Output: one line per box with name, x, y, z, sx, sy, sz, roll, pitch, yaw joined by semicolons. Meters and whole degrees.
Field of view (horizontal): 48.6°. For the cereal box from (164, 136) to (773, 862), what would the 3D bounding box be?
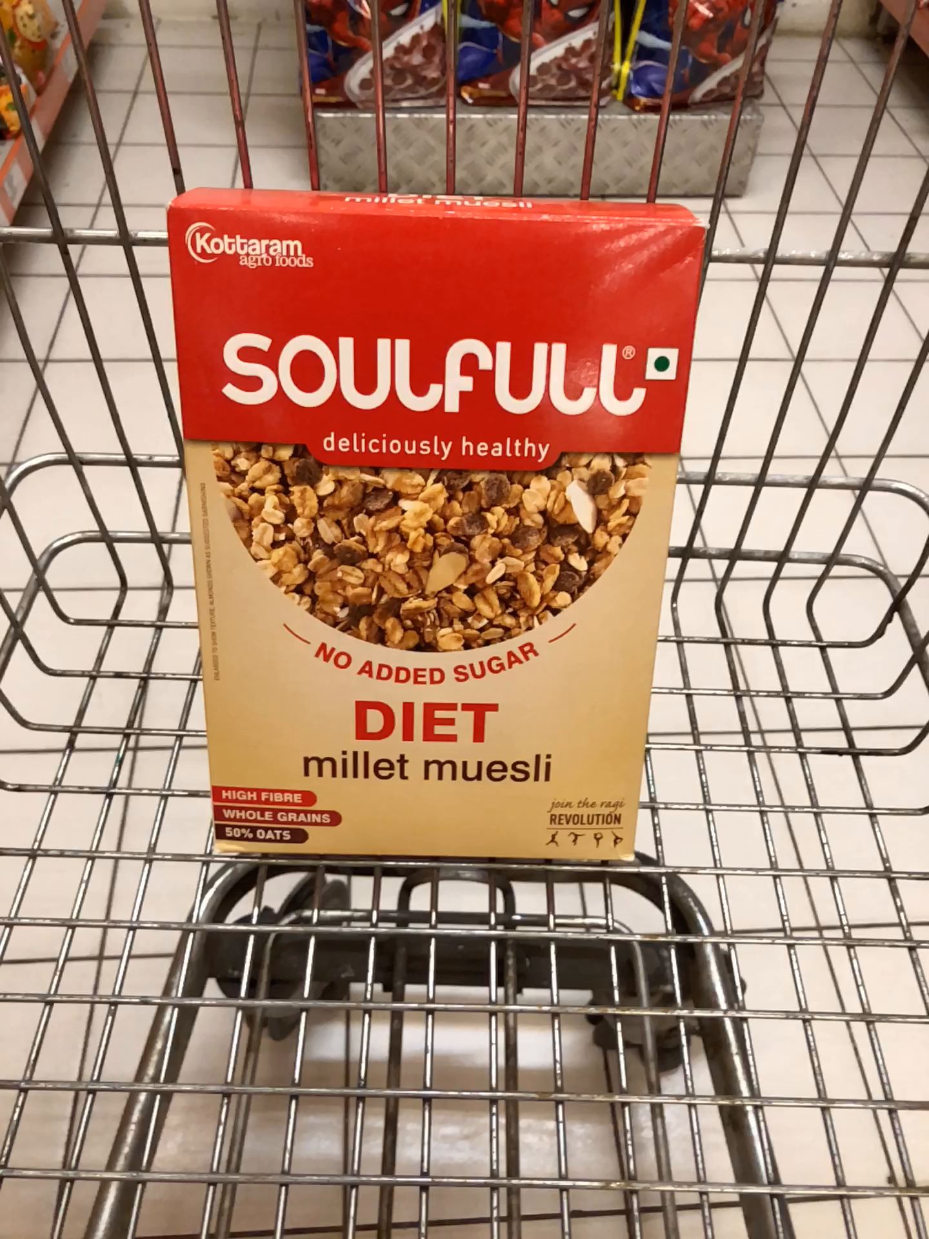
cereal box;-0.004;-0.030;0.367;0.170;0.249;0.050;2;27;-1
